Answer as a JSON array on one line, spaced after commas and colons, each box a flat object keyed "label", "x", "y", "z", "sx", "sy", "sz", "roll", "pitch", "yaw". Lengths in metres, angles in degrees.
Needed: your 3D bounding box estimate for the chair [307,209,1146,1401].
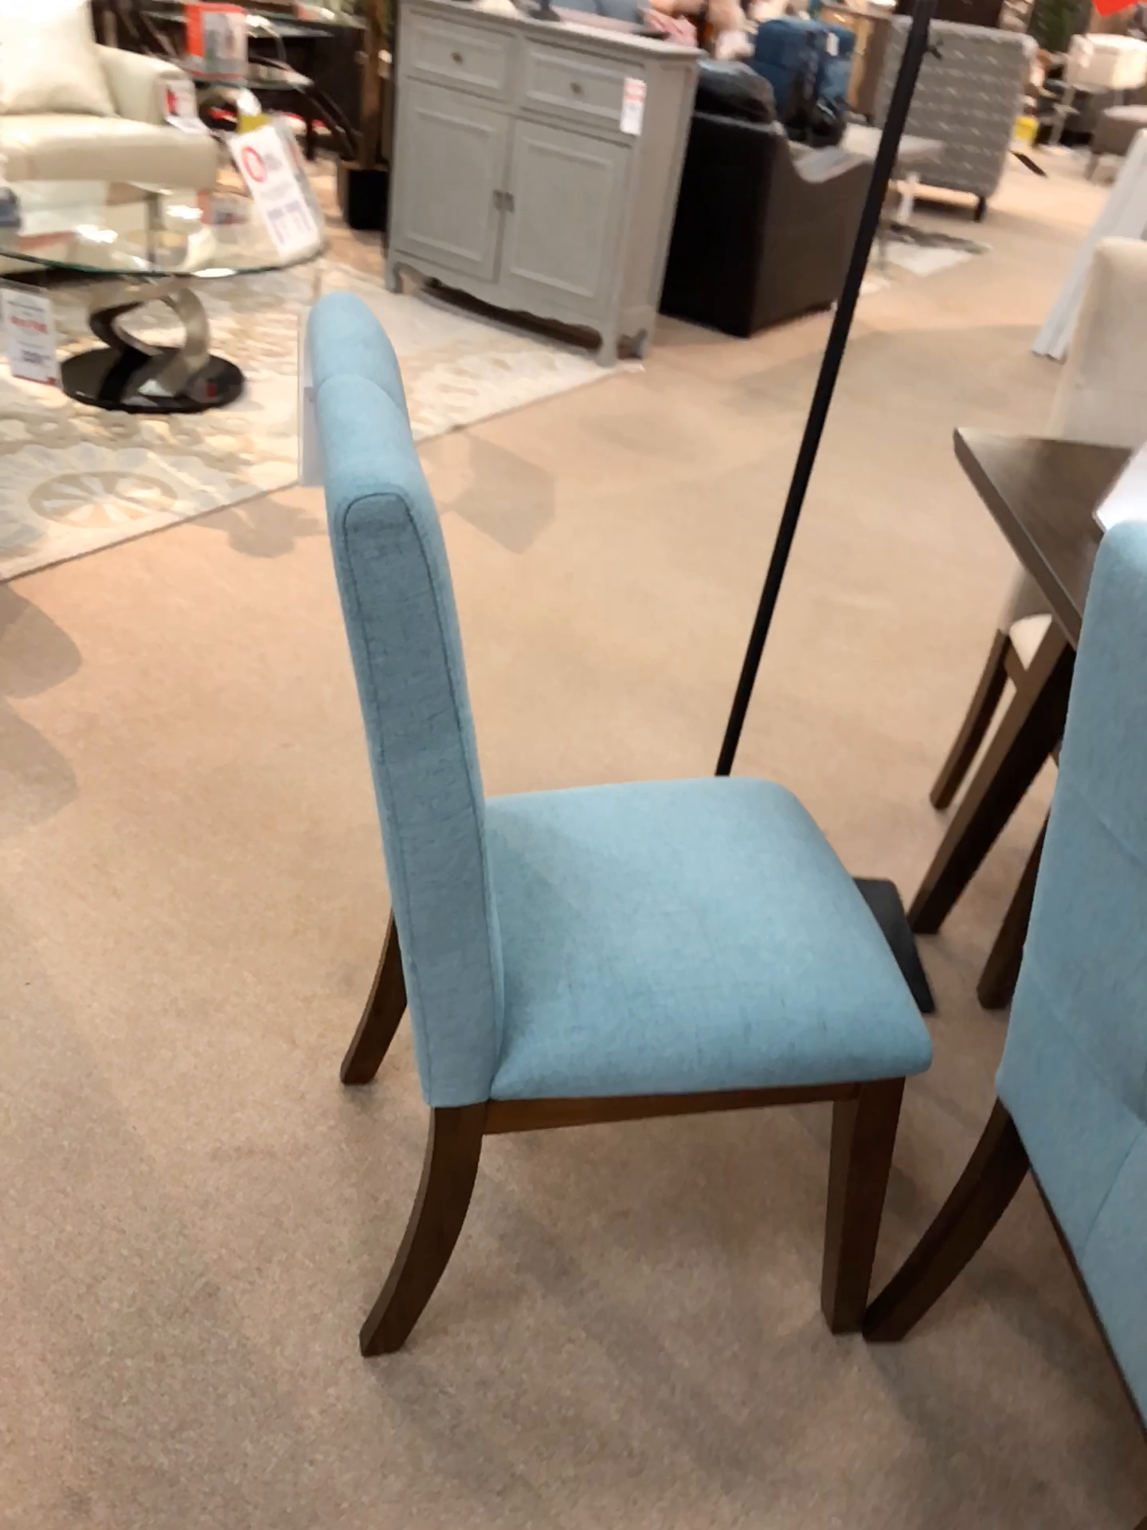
[{"label": "chair", "x": 0.072, "y": 0.057, "z": 1.244, "sx": 0.620, "sy": 0.993, "sz": 0.544, "roll": -2, "pitch": 35, "yaw": -11}]
